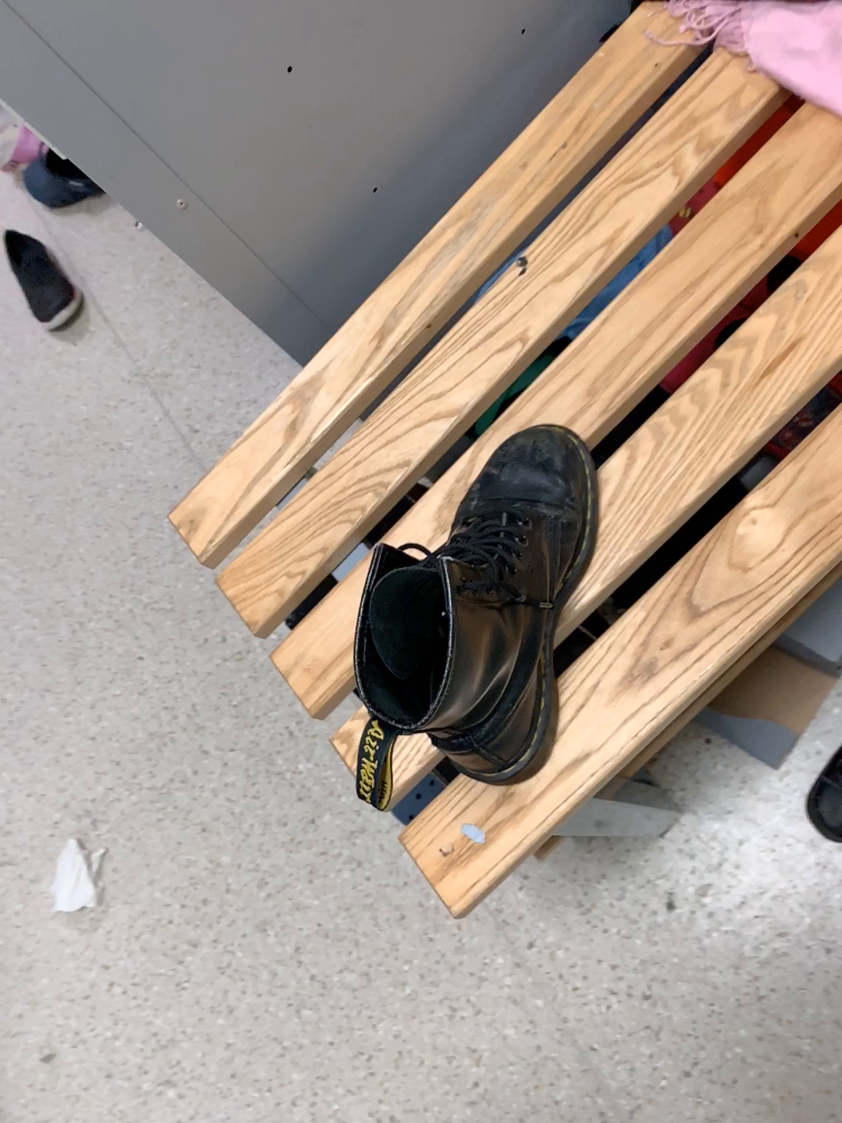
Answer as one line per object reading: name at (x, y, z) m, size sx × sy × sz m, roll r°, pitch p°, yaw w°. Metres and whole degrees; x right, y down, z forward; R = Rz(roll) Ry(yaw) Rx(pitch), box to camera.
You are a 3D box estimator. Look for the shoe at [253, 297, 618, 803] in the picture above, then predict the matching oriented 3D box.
shoe at (0.028, 0.004, 0.549) m, size 0.107 × 0.199 × 0.261 m, roll 7°, pitch 76°, yaw 28°
